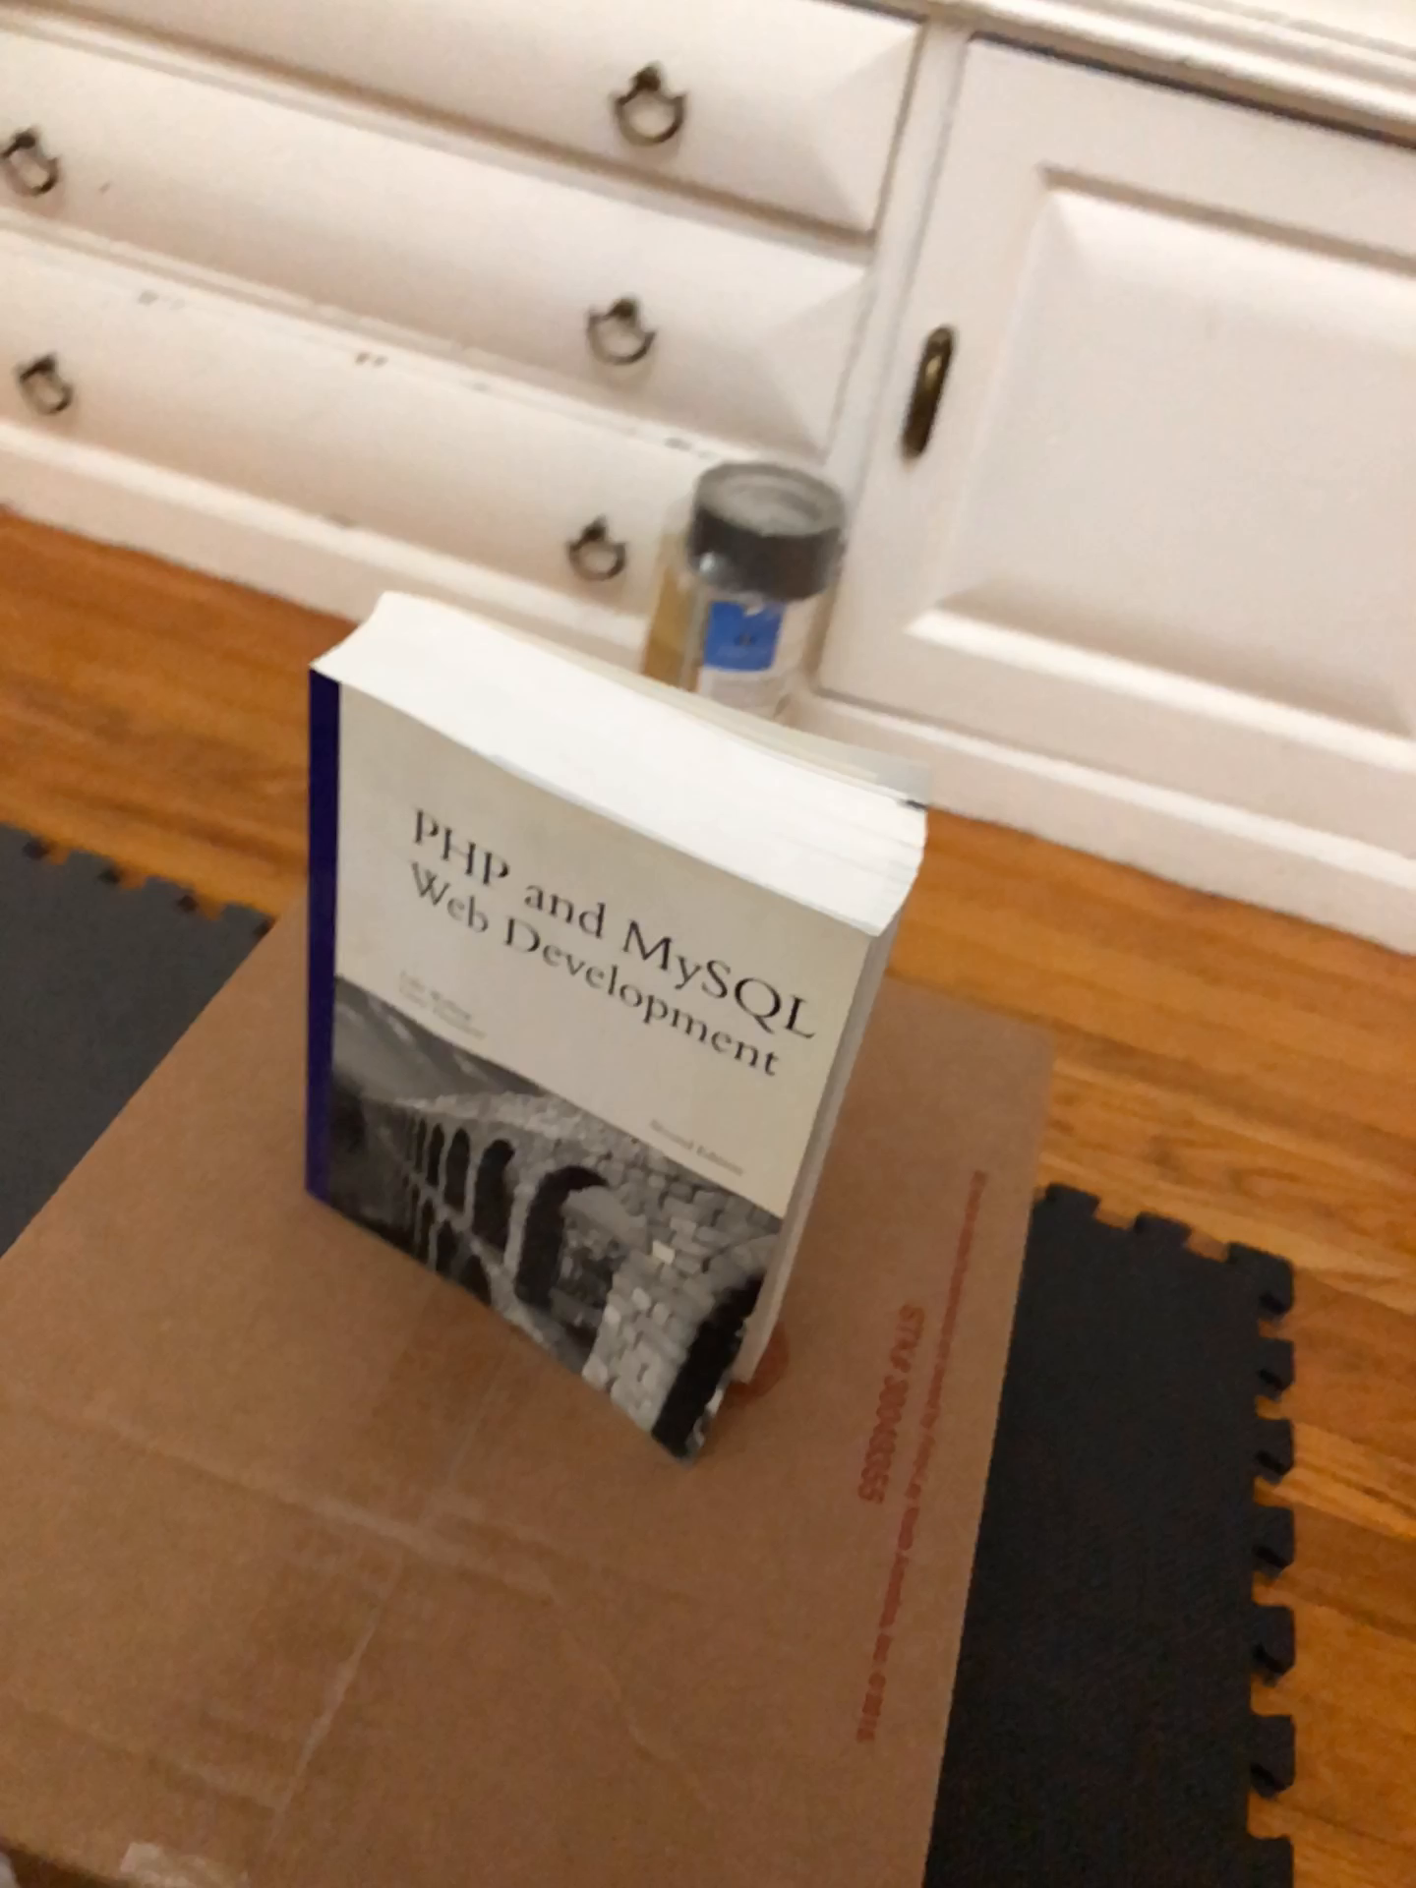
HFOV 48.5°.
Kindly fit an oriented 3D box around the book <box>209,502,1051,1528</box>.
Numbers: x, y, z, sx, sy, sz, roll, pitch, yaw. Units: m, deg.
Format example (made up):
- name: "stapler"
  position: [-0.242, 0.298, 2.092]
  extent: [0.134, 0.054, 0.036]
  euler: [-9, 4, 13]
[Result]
- name: "book"
  position: [-0.038, 0.031, 0.490]
  extent: [0.200, 0.259, 0.090]
  euler: [25, 43, 15]
